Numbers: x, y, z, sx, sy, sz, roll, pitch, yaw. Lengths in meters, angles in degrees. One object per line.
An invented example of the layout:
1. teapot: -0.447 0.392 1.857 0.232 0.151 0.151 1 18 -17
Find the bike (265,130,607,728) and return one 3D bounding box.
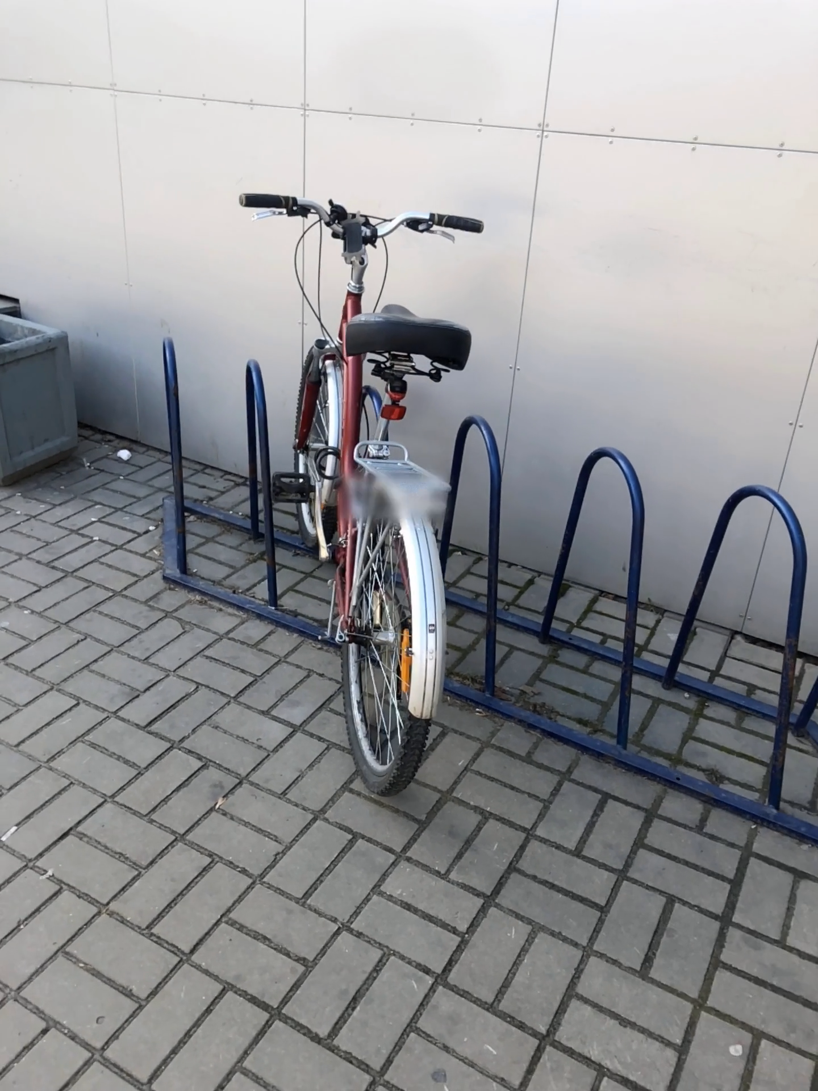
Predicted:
1. bike: -0.054 -0.419 2.306 0.595 0.972 1.313 -2 31 -10
